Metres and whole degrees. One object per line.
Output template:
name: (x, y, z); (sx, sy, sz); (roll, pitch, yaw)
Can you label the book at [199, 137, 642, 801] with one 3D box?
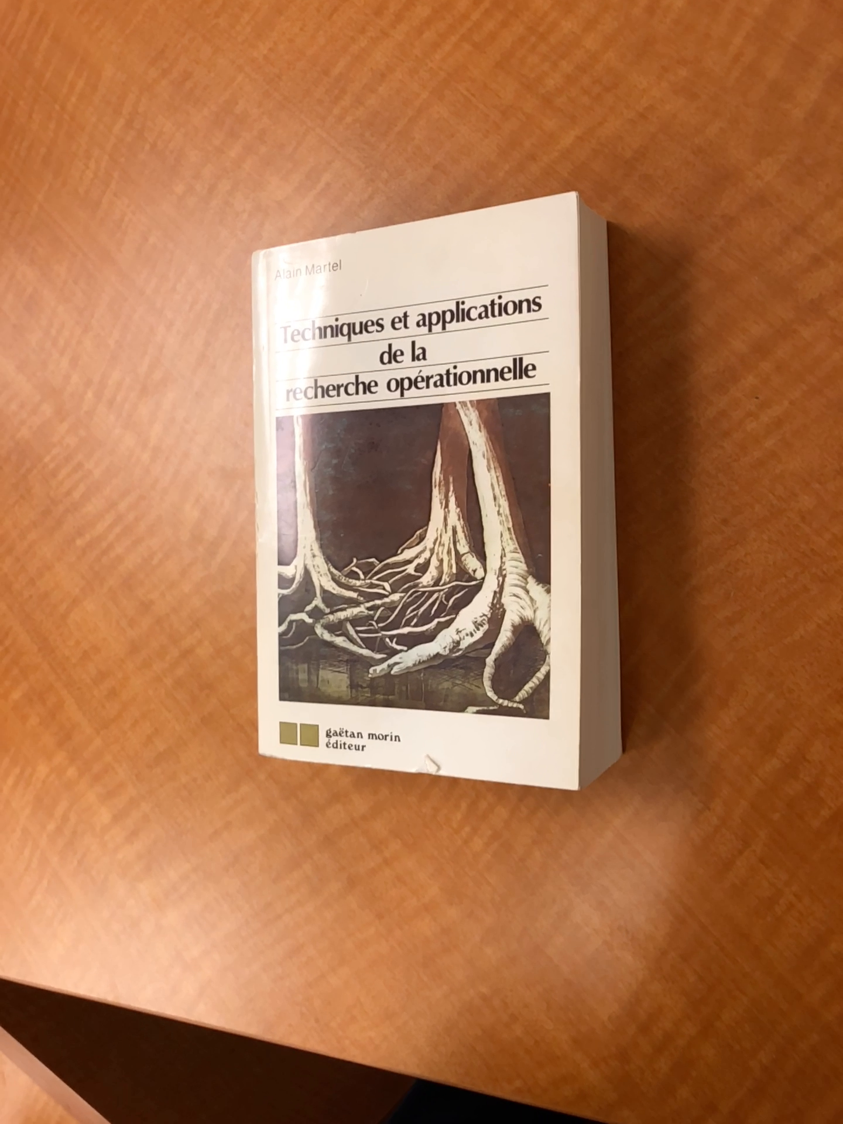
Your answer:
book: (-0.002, -0.031, 0.391); (0.170, 0.070, 0.230); (-1, 89, 26)
